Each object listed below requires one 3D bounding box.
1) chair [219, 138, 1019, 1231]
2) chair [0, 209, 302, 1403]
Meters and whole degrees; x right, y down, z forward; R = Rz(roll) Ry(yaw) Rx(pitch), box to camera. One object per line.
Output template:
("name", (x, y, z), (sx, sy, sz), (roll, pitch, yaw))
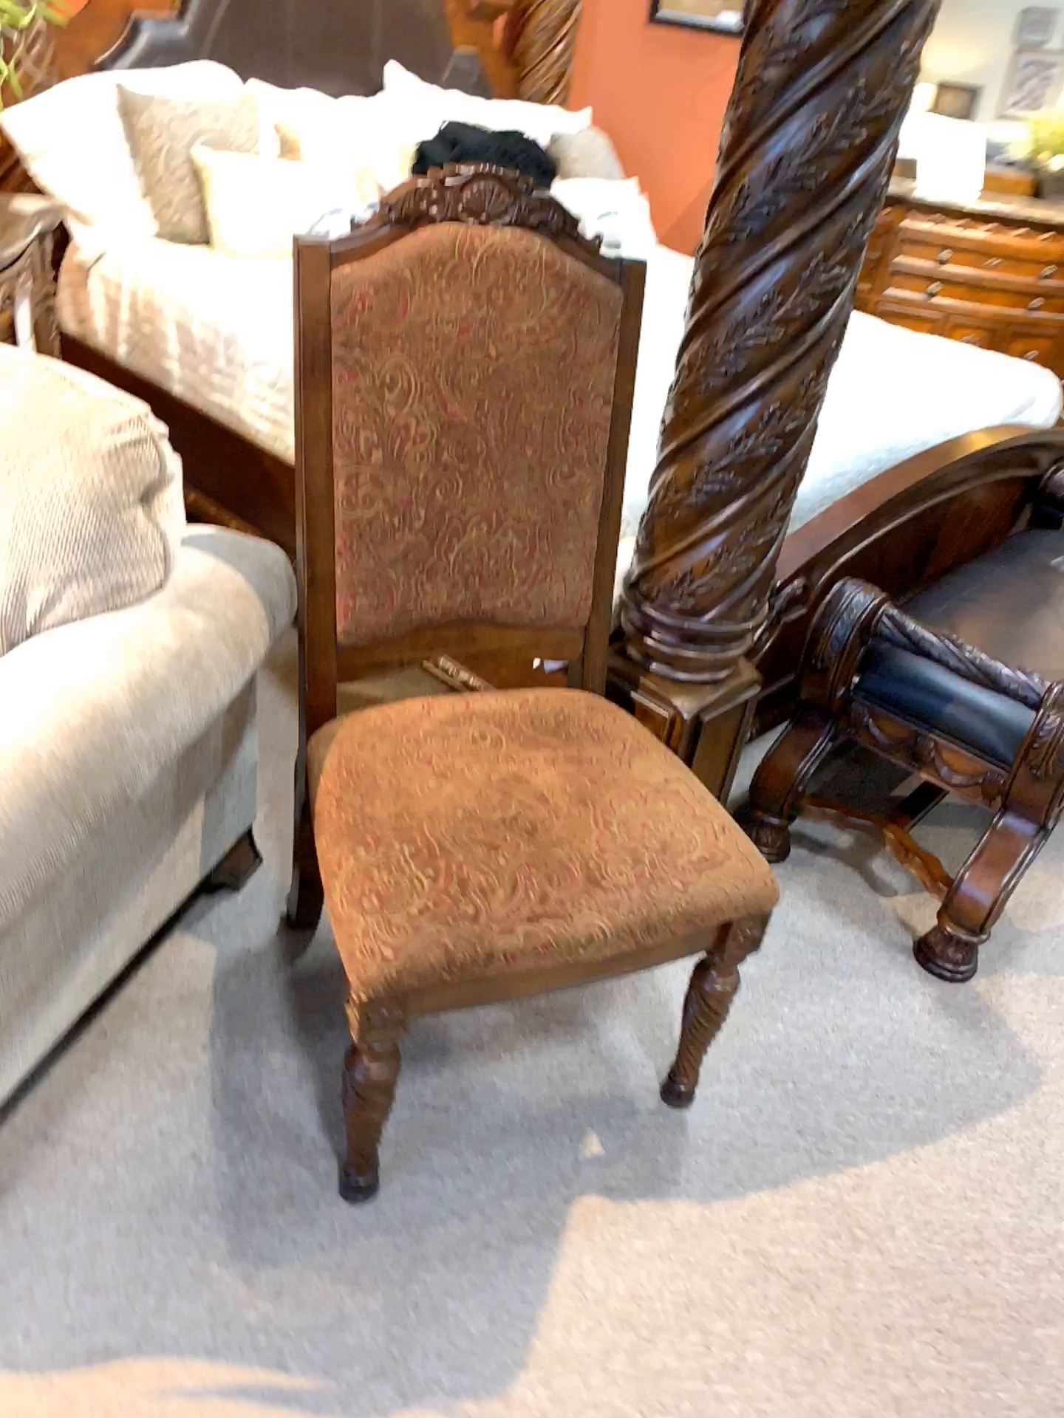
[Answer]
("chair", (-0.035, -0.025, 1.386), (0.591, 1.123, 0.640), (-6, 36, -22))
("chair", (-0.894, 0.003, 1.302), (0.880, 0.864, 0.902), (16, 34, 10))
